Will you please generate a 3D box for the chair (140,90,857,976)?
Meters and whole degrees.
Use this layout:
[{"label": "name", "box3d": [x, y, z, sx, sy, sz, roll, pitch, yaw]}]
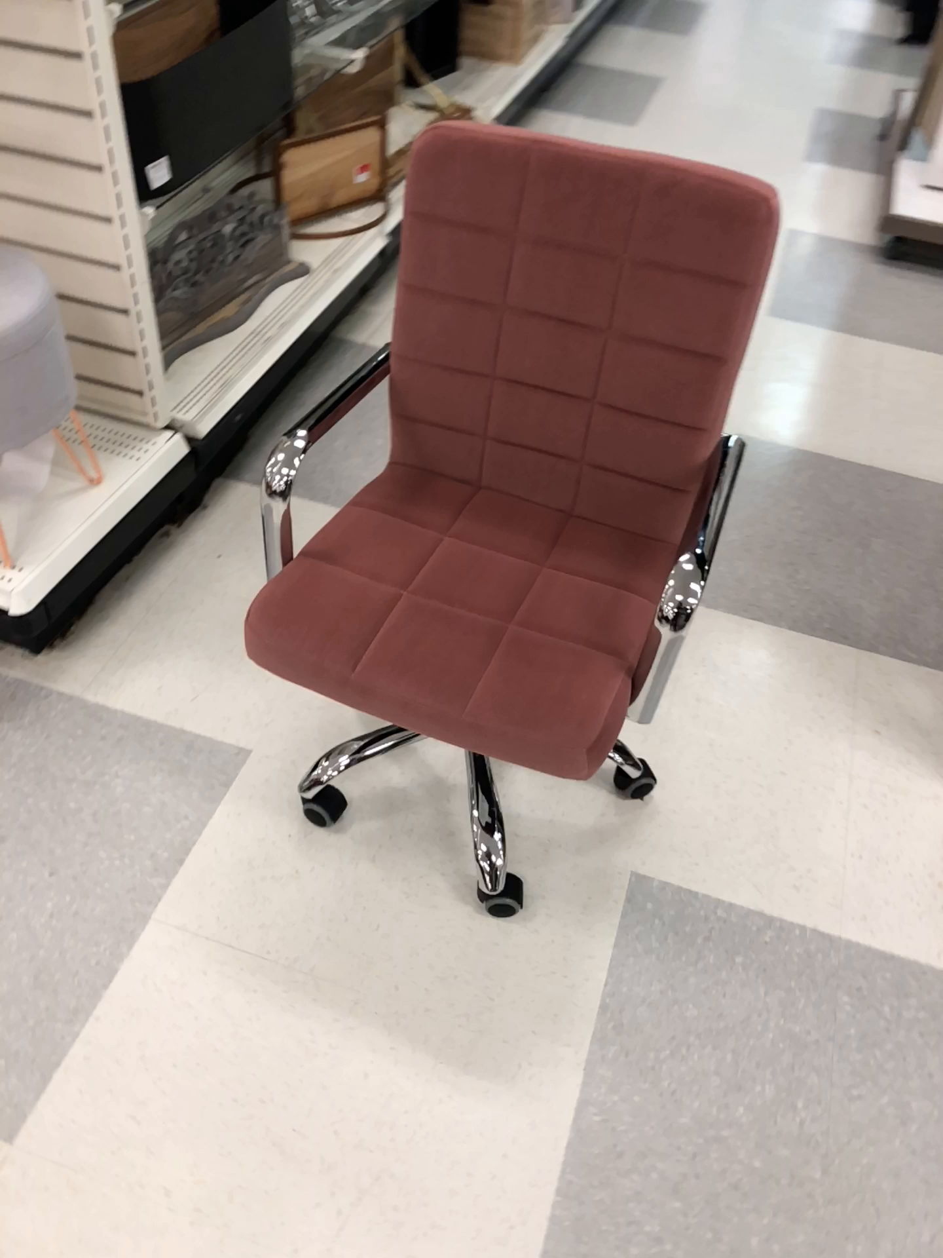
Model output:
[{"label": "chair", "box3d": [0.043, -0.106, 1.332, 0.564, 0.842, 0.572, 18, 46, 12]}]
